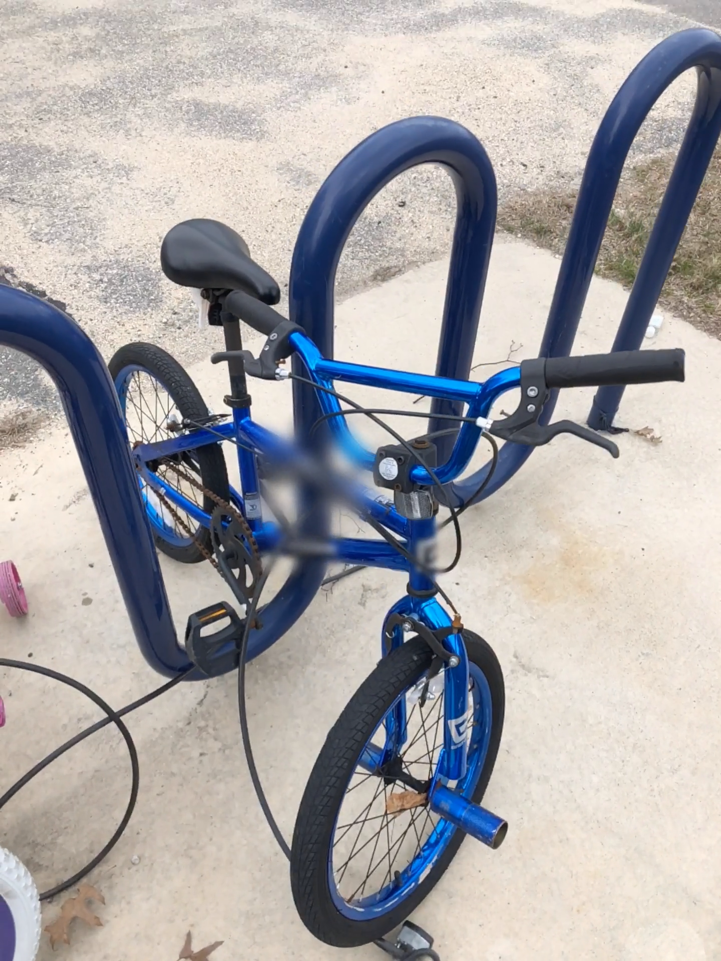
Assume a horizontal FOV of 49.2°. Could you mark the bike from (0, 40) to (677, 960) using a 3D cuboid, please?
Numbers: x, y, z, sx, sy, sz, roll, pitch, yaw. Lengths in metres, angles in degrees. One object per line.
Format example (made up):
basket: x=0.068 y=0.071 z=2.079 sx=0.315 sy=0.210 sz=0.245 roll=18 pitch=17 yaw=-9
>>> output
bike: x=-0.183 y=-0.031 z=1.214 sx=0.622 sy=0.840 sz=1.033 roll=-19 pitch=46 yaw=-20
